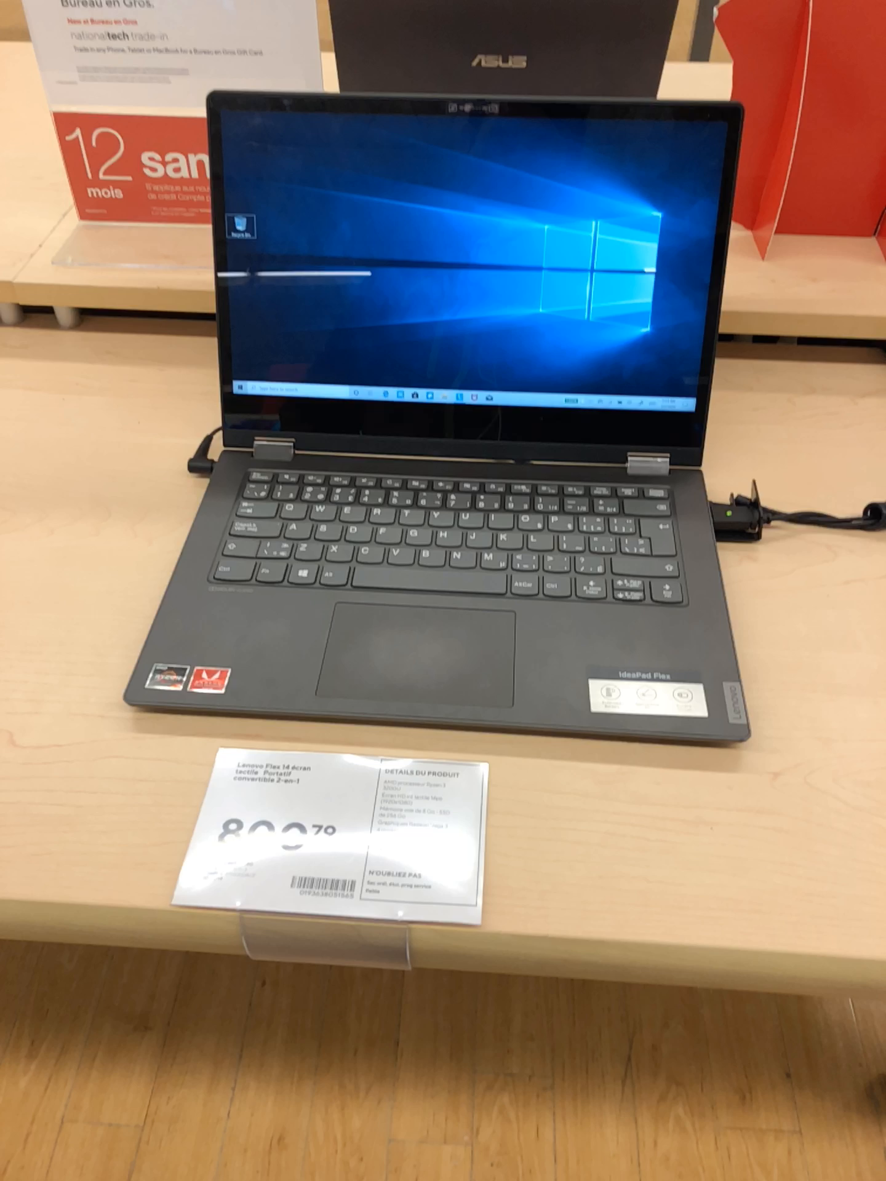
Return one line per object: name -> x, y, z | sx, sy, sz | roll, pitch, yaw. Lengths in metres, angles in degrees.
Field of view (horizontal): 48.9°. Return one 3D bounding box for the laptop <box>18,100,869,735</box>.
laptop -> 0.008, -0.112, 0.543 | 0.319, 0.198, 0.307 | 3, 45, 3
